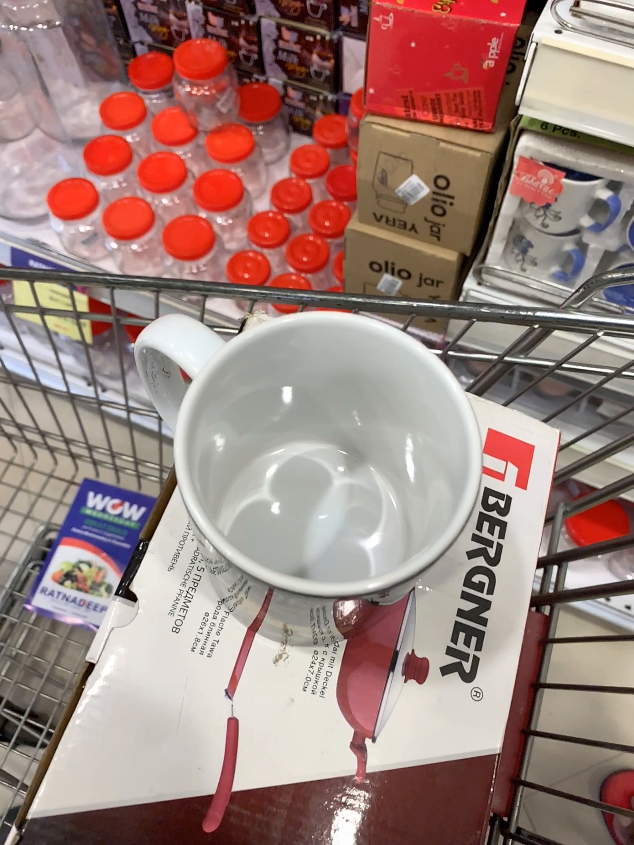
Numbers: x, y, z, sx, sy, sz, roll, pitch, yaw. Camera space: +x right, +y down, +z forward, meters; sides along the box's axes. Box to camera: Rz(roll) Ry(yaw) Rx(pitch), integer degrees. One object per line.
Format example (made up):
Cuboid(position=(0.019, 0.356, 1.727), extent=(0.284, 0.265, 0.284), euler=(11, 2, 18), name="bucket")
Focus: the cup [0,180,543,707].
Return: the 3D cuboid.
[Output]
Cuboid(position=(-0.020, 0.012, 0.195), extent=(0.120, 0.090, 0.080), euler=(31, 68, 11), name="cup")
